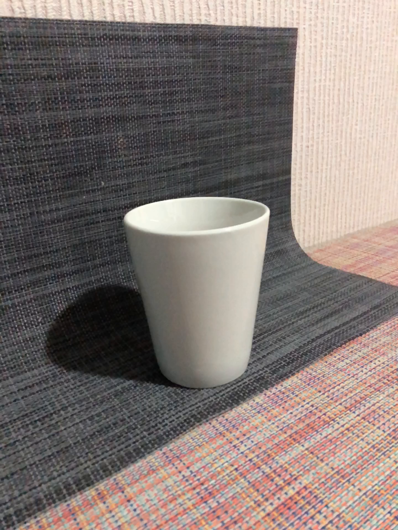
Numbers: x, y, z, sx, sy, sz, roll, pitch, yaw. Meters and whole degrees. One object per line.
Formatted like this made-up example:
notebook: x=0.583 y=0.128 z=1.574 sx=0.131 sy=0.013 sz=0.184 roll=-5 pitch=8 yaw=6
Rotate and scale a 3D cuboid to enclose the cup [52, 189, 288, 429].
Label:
cup: x=-0.006 y=0.013 z=0.269 sx=0.096 sy=0.096 sz=0.112 roll=5 pitch=22 yaw=22
